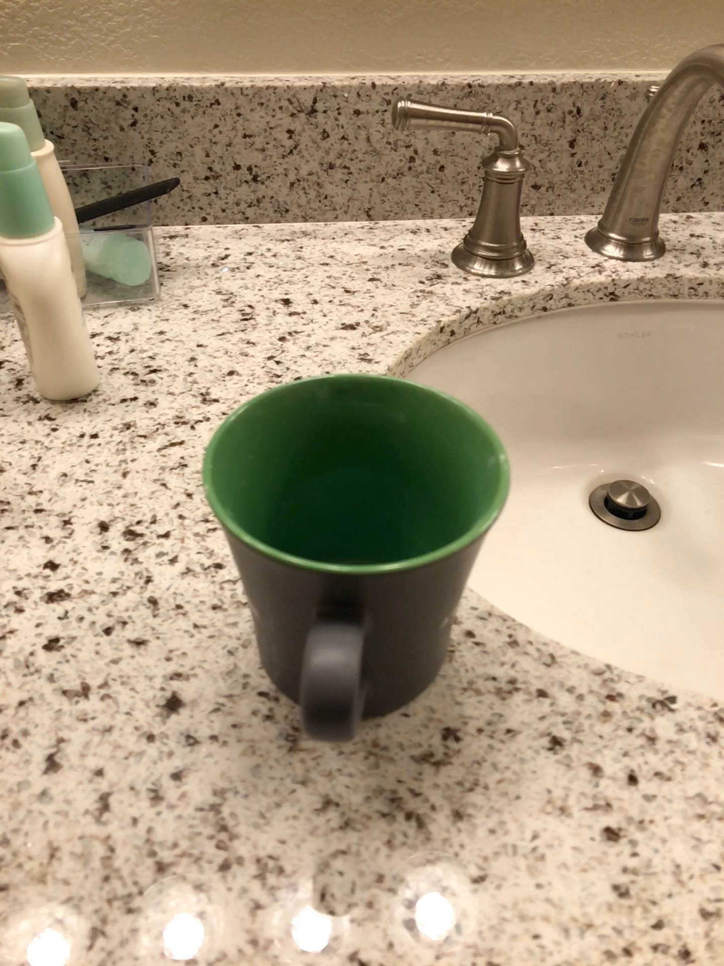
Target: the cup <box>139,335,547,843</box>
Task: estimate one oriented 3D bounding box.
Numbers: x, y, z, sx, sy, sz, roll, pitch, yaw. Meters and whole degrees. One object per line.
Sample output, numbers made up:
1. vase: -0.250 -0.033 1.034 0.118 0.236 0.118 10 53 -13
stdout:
1. cup: -0.005 0.033 0.281 0.100 0.109 0.141 1 42 0
